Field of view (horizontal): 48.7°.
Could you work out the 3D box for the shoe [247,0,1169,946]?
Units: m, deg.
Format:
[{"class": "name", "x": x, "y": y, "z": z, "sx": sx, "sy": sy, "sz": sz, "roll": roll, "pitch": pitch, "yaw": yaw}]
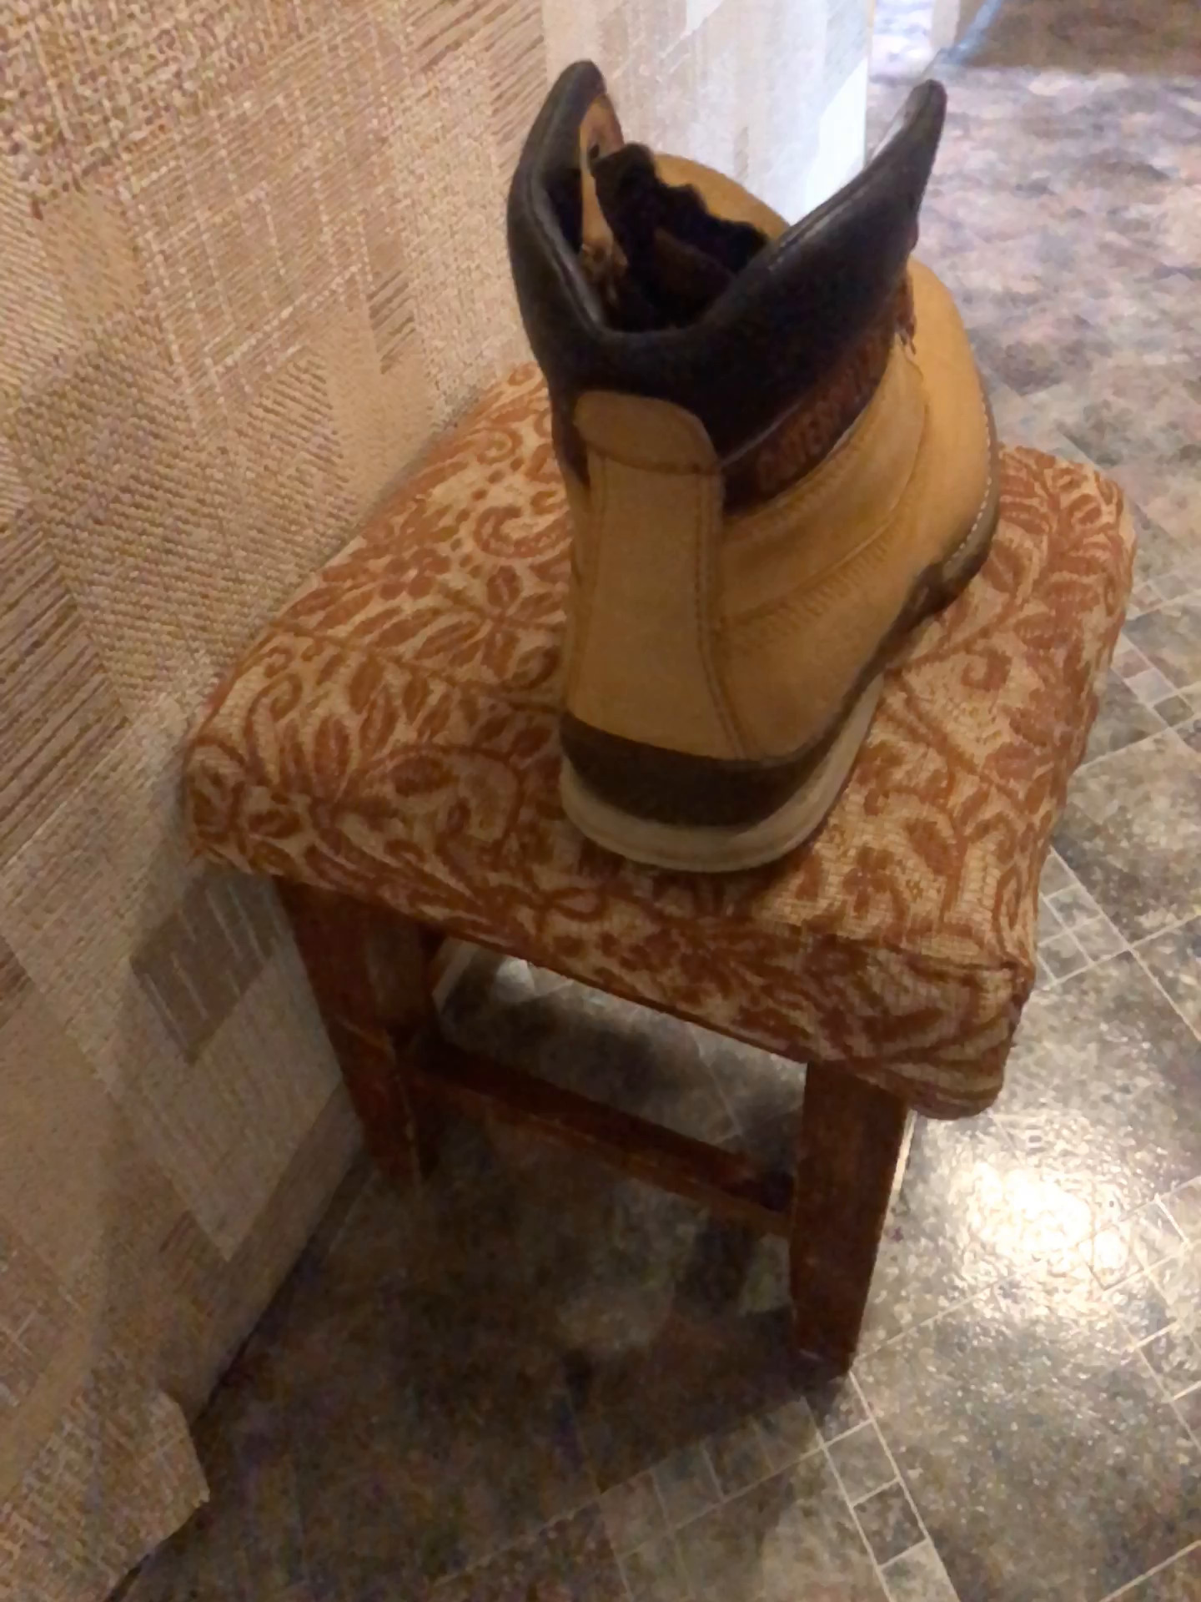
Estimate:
[{"class": "shoe", "x": 0.059, "y": -0.150, "z": 0.407, "sx": 0.140, "sy": 0.189, "sz": 0.311, "roll": 15, "pitch": 50, "yaw": 17}]
